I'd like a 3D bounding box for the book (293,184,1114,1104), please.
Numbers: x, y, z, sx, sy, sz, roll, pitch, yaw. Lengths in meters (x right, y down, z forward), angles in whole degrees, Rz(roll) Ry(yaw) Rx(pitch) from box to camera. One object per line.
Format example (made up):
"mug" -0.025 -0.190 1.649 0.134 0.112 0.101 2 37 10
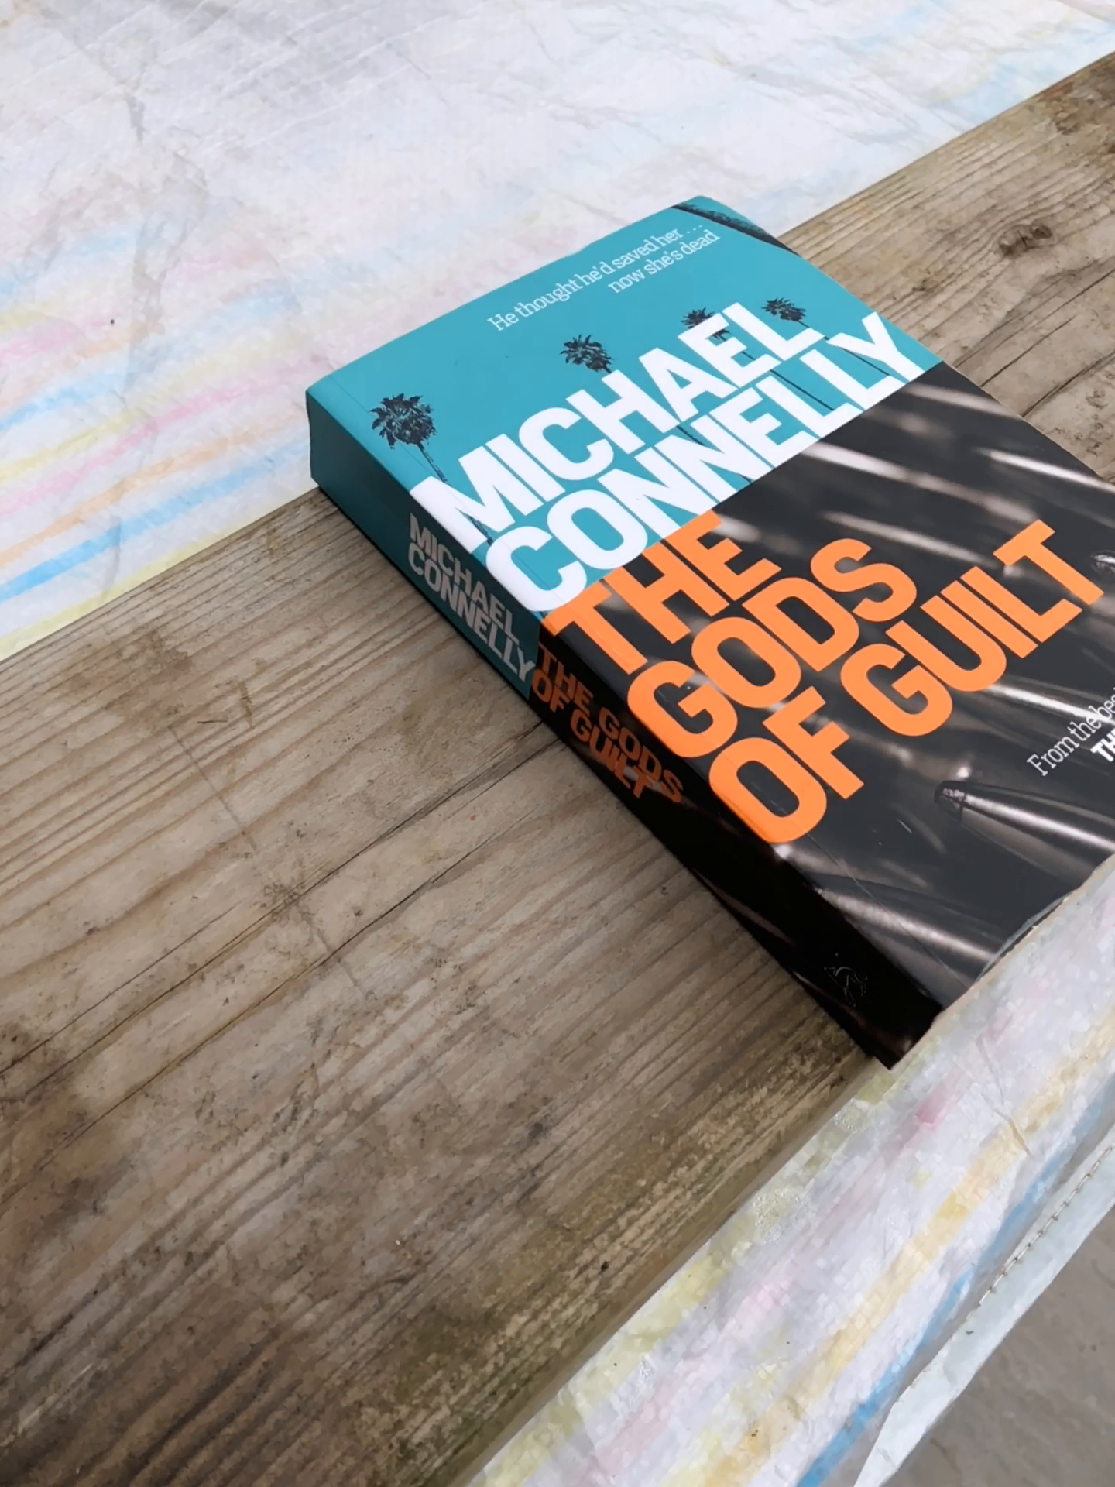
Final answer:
"book" 0.056 -0.043 0.292 0.140 0.040 0.200 -34 65 -24
